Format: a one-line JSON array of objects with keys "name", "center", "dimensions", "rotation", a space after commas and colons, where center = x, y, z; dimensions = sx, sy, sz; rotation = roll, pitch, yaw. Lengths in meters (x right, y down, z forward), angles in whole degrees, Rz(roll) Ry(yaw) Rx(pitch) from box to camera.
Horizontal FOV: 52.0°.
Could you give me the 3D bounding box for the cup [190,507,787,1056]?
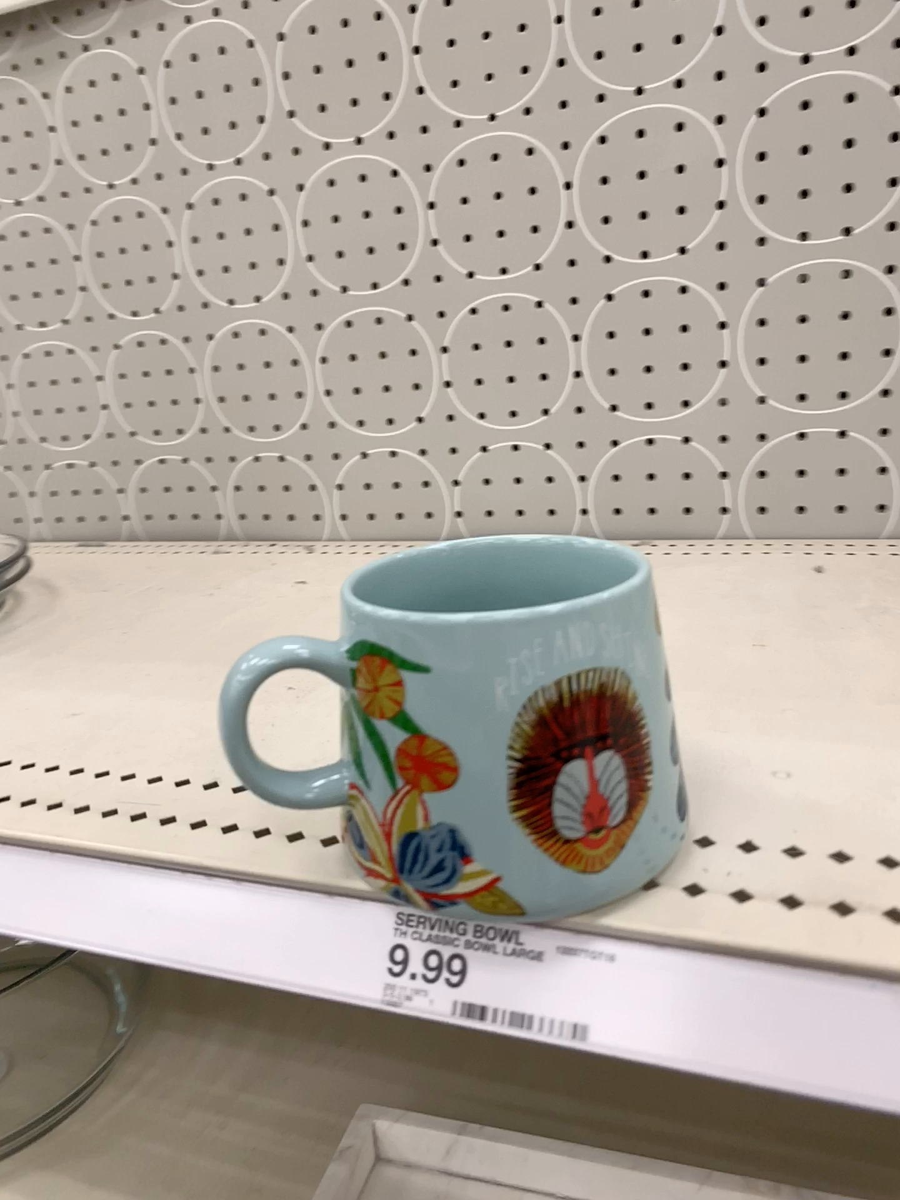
[{"name": "cup", "center": [0.002, 0.036, 0.275], "dimensions": [0.140, 0.090, 0.121], "rotation": [-10, 17, -13]}]
